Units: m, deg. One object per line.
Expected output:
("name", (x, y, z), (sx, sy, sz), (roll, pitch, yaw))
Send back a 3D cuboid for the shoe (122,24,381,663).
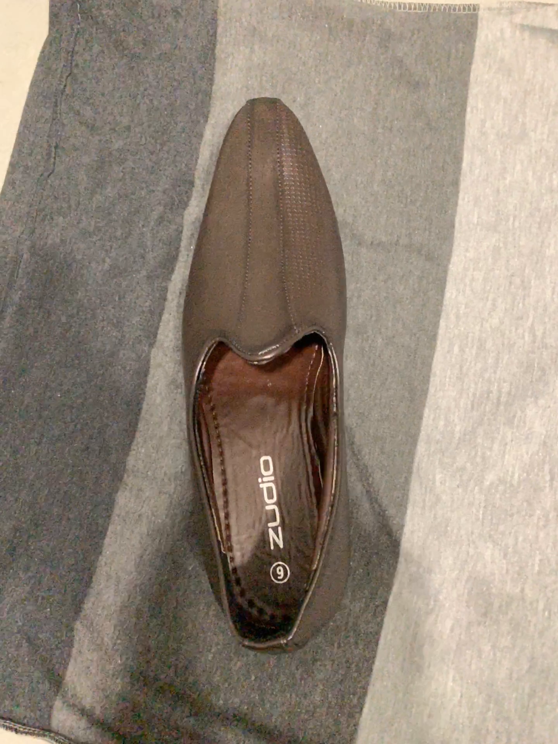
("shoe", (-0.012, -0.013, 0.292), (0.100, 0.100, 0.270), (-4, 80, 7))
